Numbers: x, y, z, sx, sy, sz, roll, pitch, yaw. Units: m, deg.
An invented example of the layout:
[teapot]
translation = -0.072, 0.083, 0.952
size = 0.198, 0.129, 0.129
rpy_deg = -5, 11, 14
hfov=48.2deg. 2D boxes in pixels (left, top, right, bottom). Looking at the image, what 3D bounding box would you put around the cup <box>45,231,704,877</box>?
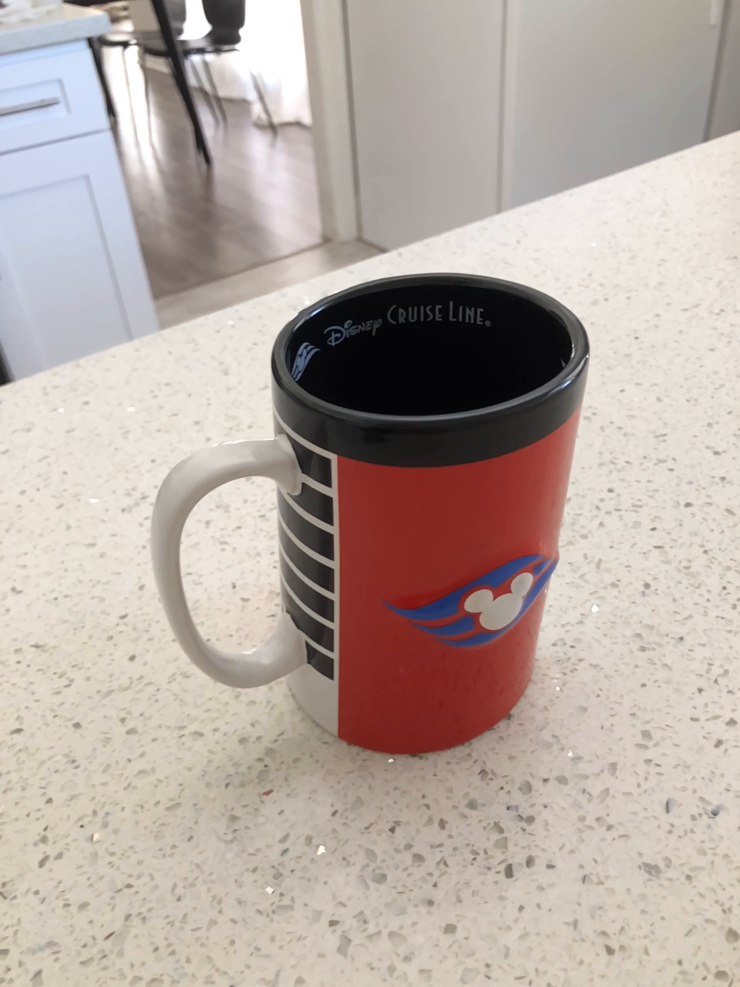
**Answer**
[cup]
translation = 0.000, 0.008, 0.229
size = 0.130, 0.110, 0.090
rpy_deg = -20, 39, -19
